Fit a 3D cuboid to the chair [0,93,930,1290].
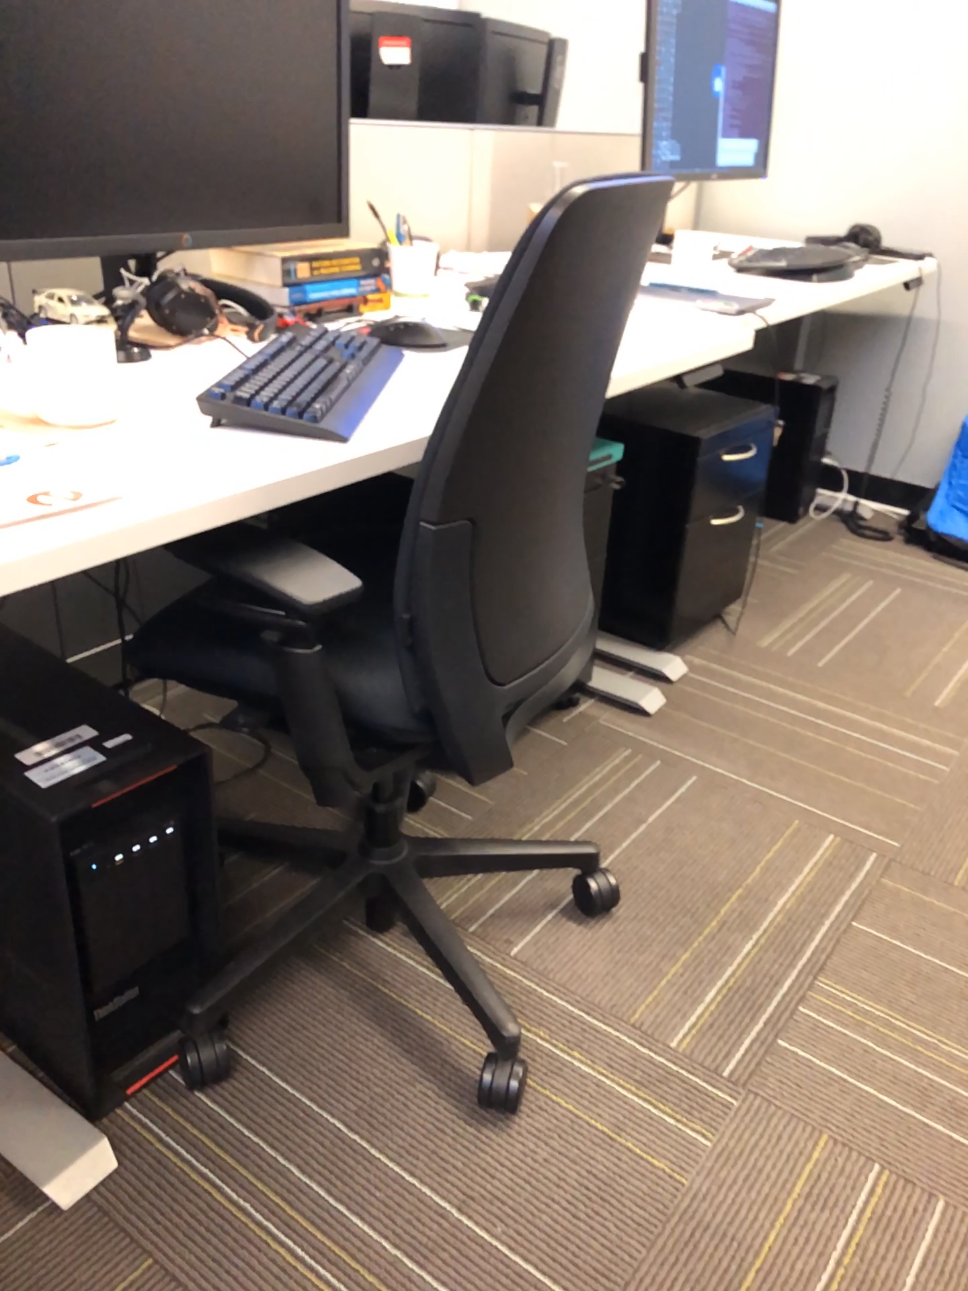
[{"bbox_3d":[-0.045,-0.039,1.243,0.661,1.015,0.783,20,31,30],"label":"chair"}]
